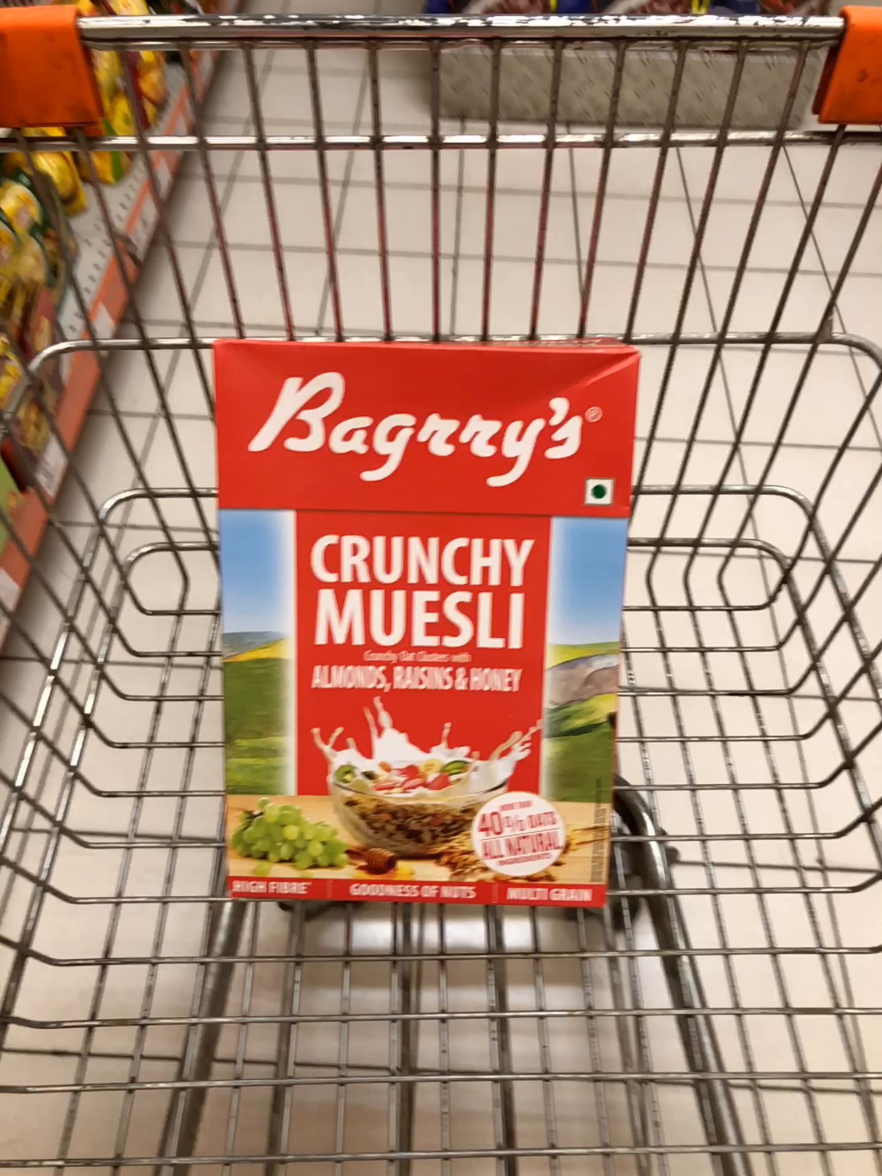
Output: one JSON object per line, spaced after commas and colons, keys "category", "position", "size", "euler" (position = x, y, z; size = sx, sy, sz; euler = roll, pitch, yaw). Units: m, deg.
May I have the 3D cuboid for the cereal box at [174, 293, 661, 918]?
{"category": "cereal box", "position": [-0.012, 0.012, 0.451], "size": [0.190, 0.279, 0.060], "euler": [1, 17, 0]}
